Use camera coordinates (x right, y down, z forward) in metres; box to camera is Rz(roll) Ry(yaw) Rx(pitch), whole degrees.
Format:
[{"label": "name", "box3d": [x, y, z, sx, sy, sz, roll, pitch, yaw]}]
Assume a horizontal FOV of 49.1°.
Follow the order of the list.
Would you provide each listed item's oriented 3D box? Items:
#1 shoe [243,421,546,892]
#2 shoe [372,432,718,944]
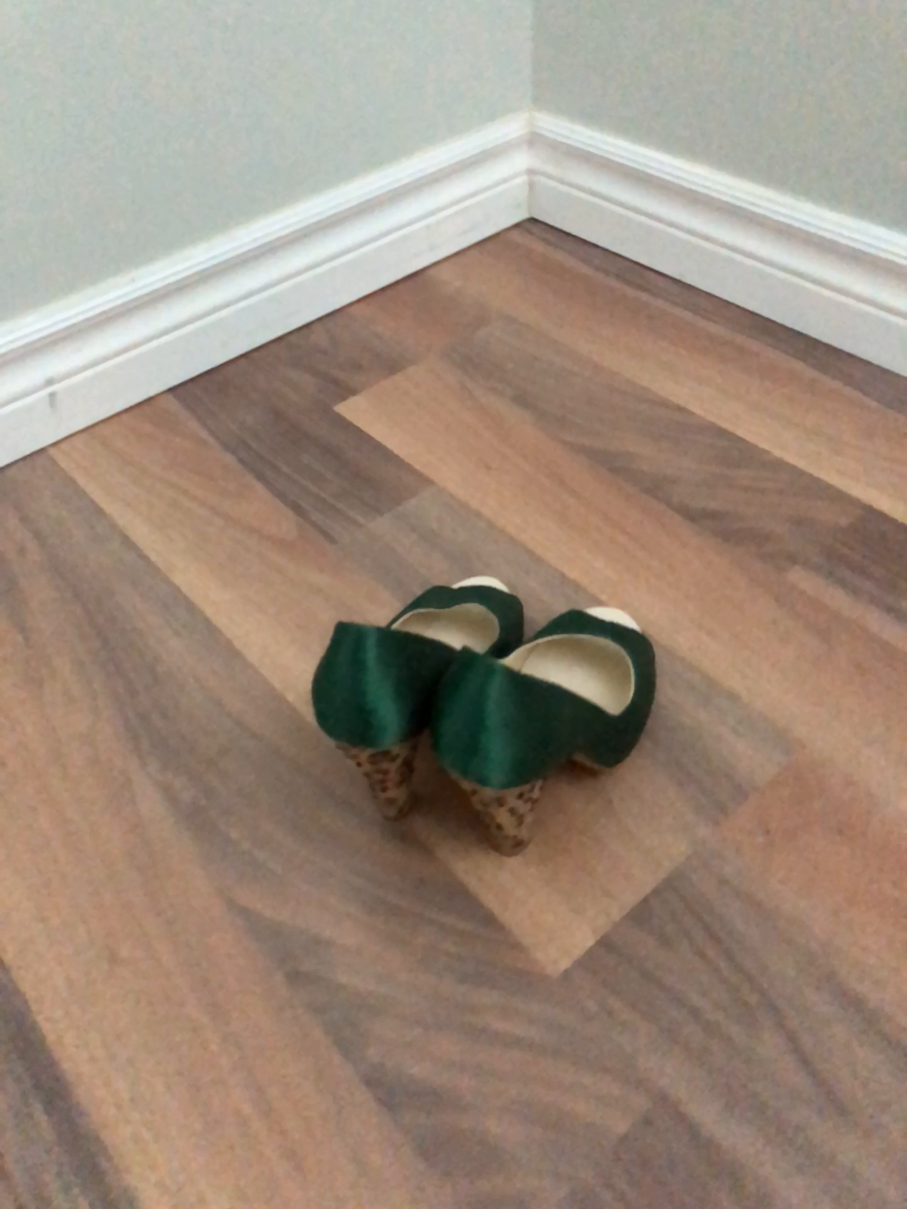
[{"label": "shoe", "box3d": [-0.016, 0.020, 0.537, 0.090, 0.129, 0.211, 9, 48, 13]}, {"label": "shoe", "box3d": [0.055, 0.034, 0.505, 0.090, 0.129, 0.211, 16, 50, 19]}]
